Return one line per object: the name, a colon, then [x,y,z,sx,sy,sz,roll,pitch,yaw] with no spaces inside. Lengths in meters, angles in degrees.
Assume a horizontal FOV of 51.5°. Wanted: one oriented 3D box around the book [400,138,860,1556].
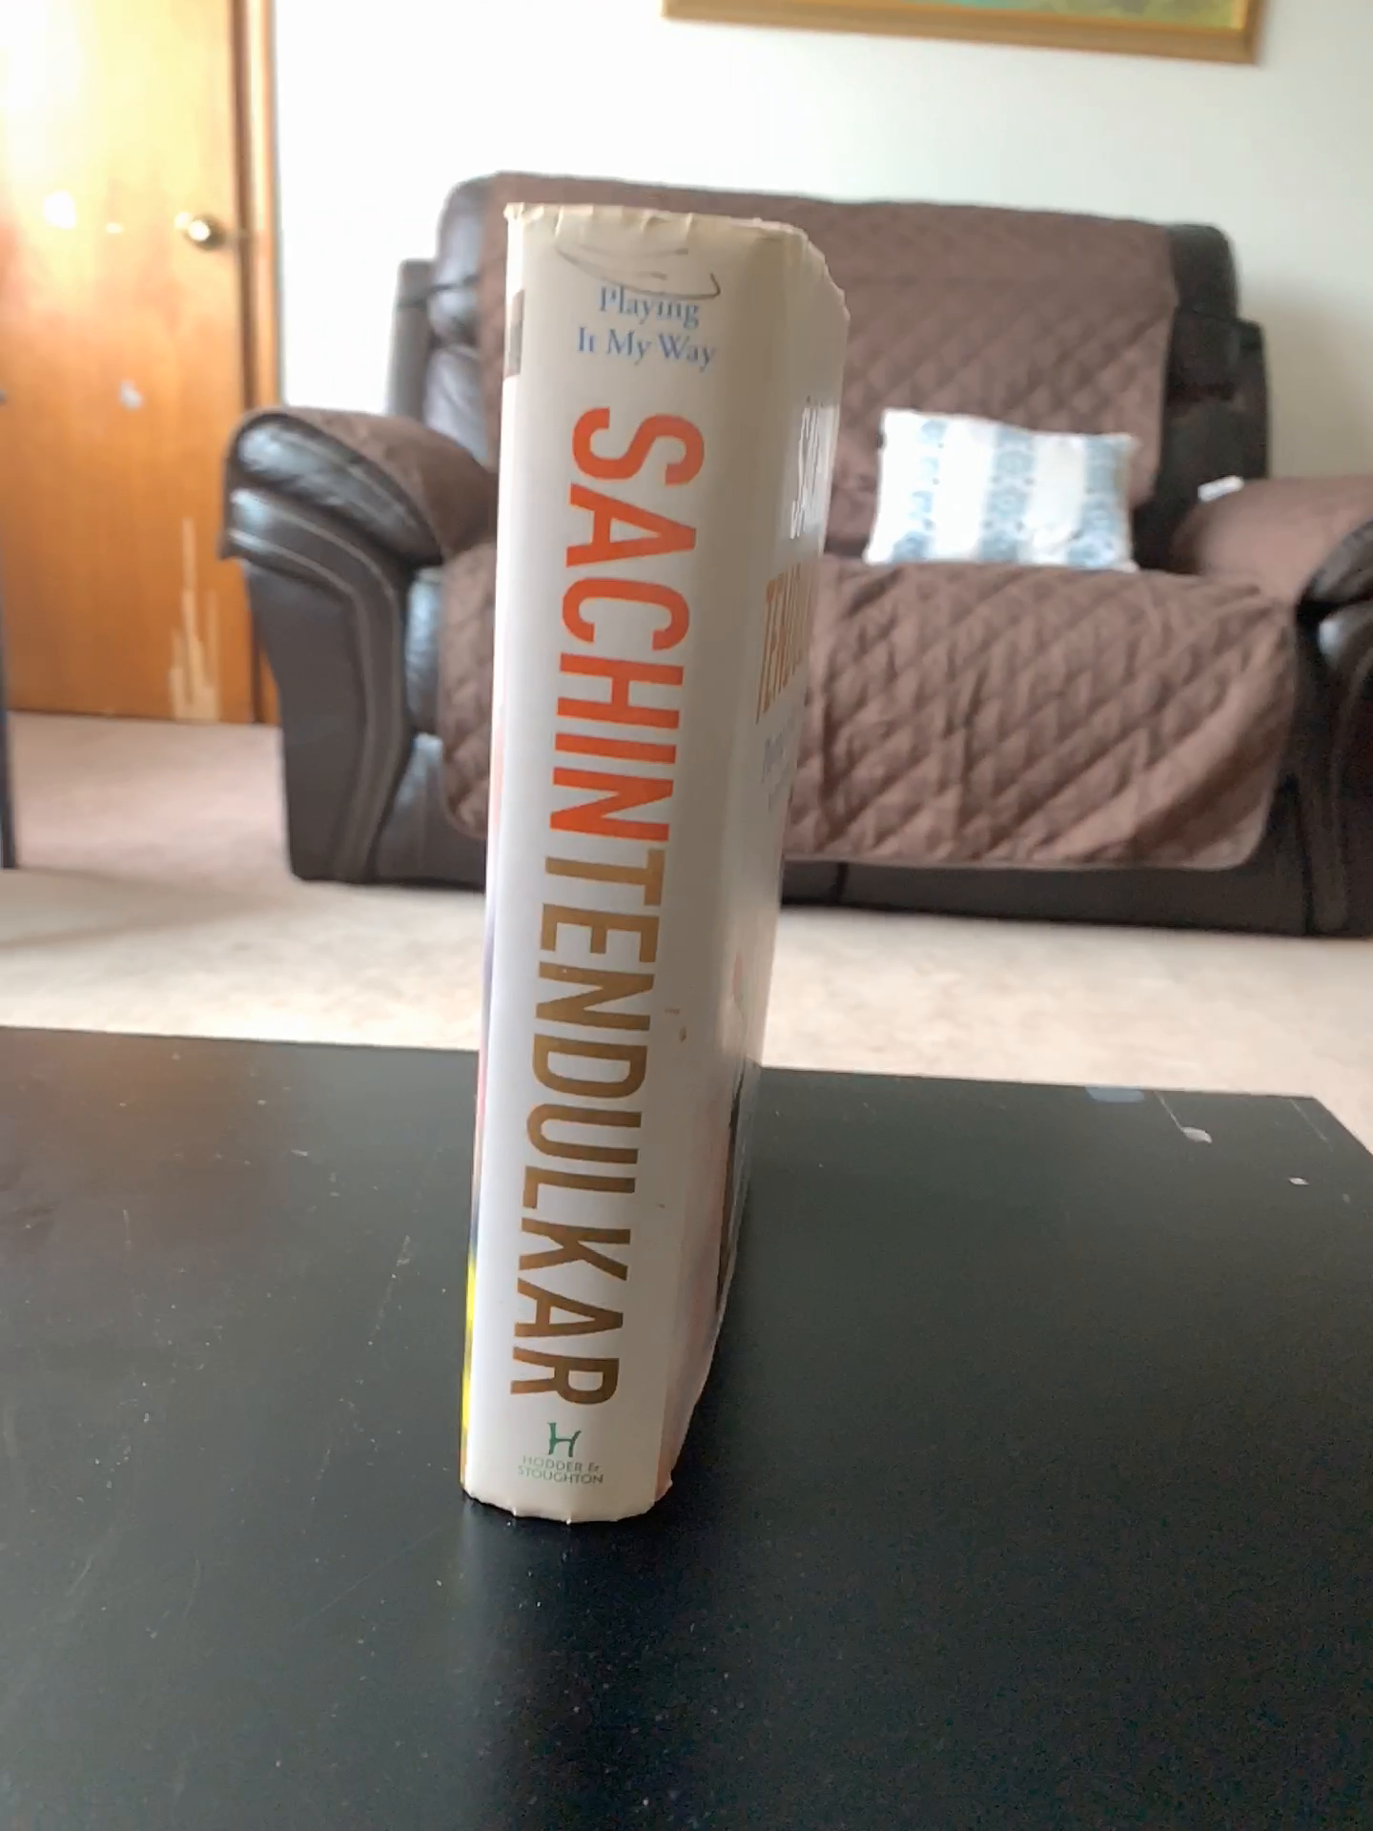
book: [-0.006,-0.021,0.317,0.060,0.239,0.171,6,18,7]
